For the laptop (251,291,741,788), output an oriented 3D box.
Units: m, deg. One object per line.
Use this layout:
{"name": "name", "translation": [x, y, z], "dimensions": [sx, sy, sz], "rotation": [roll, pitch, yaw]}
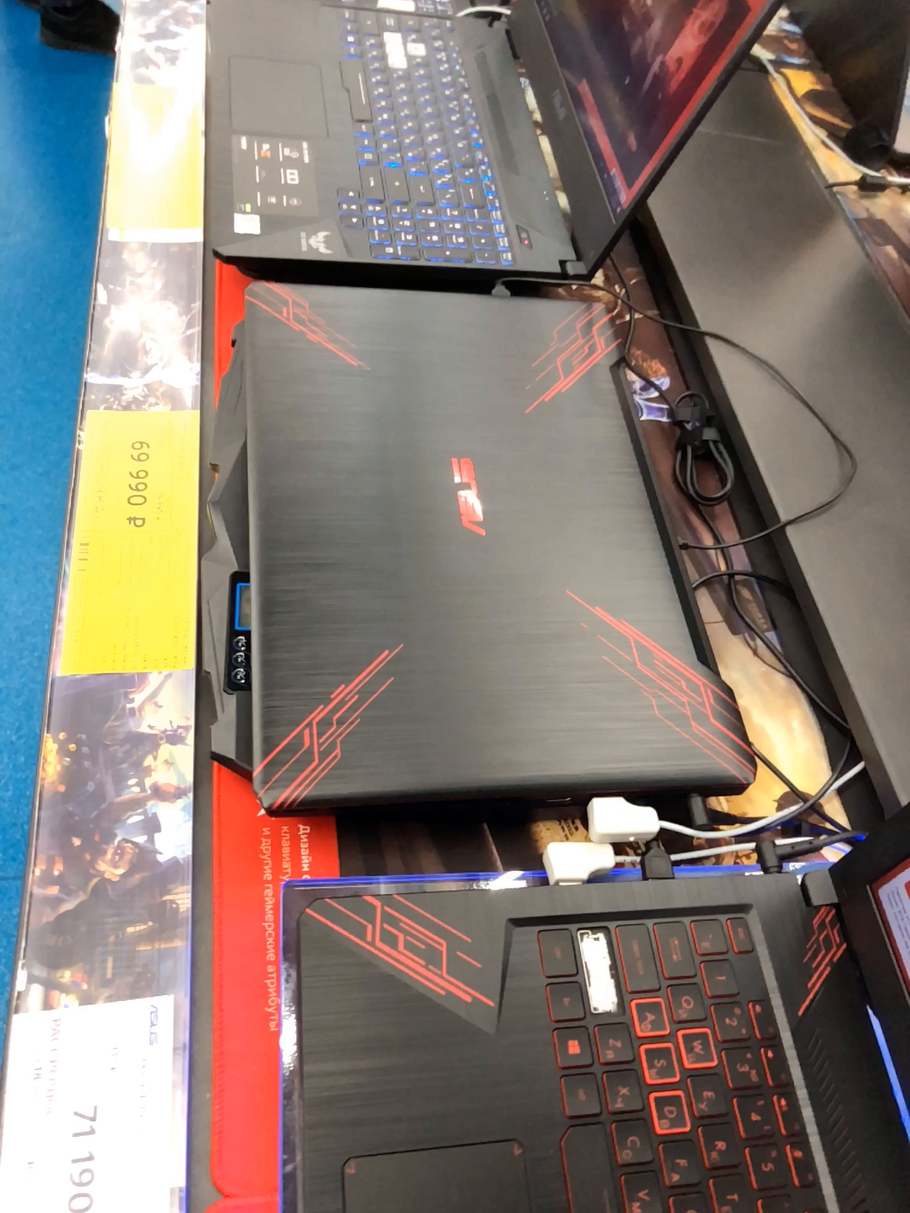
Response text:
{"name": "laptop", "translation": [0.007, -0.064, 0.594], "dimensions": [0.239, 0.003, 0.359], "rotation": [0, 54, -14]}
